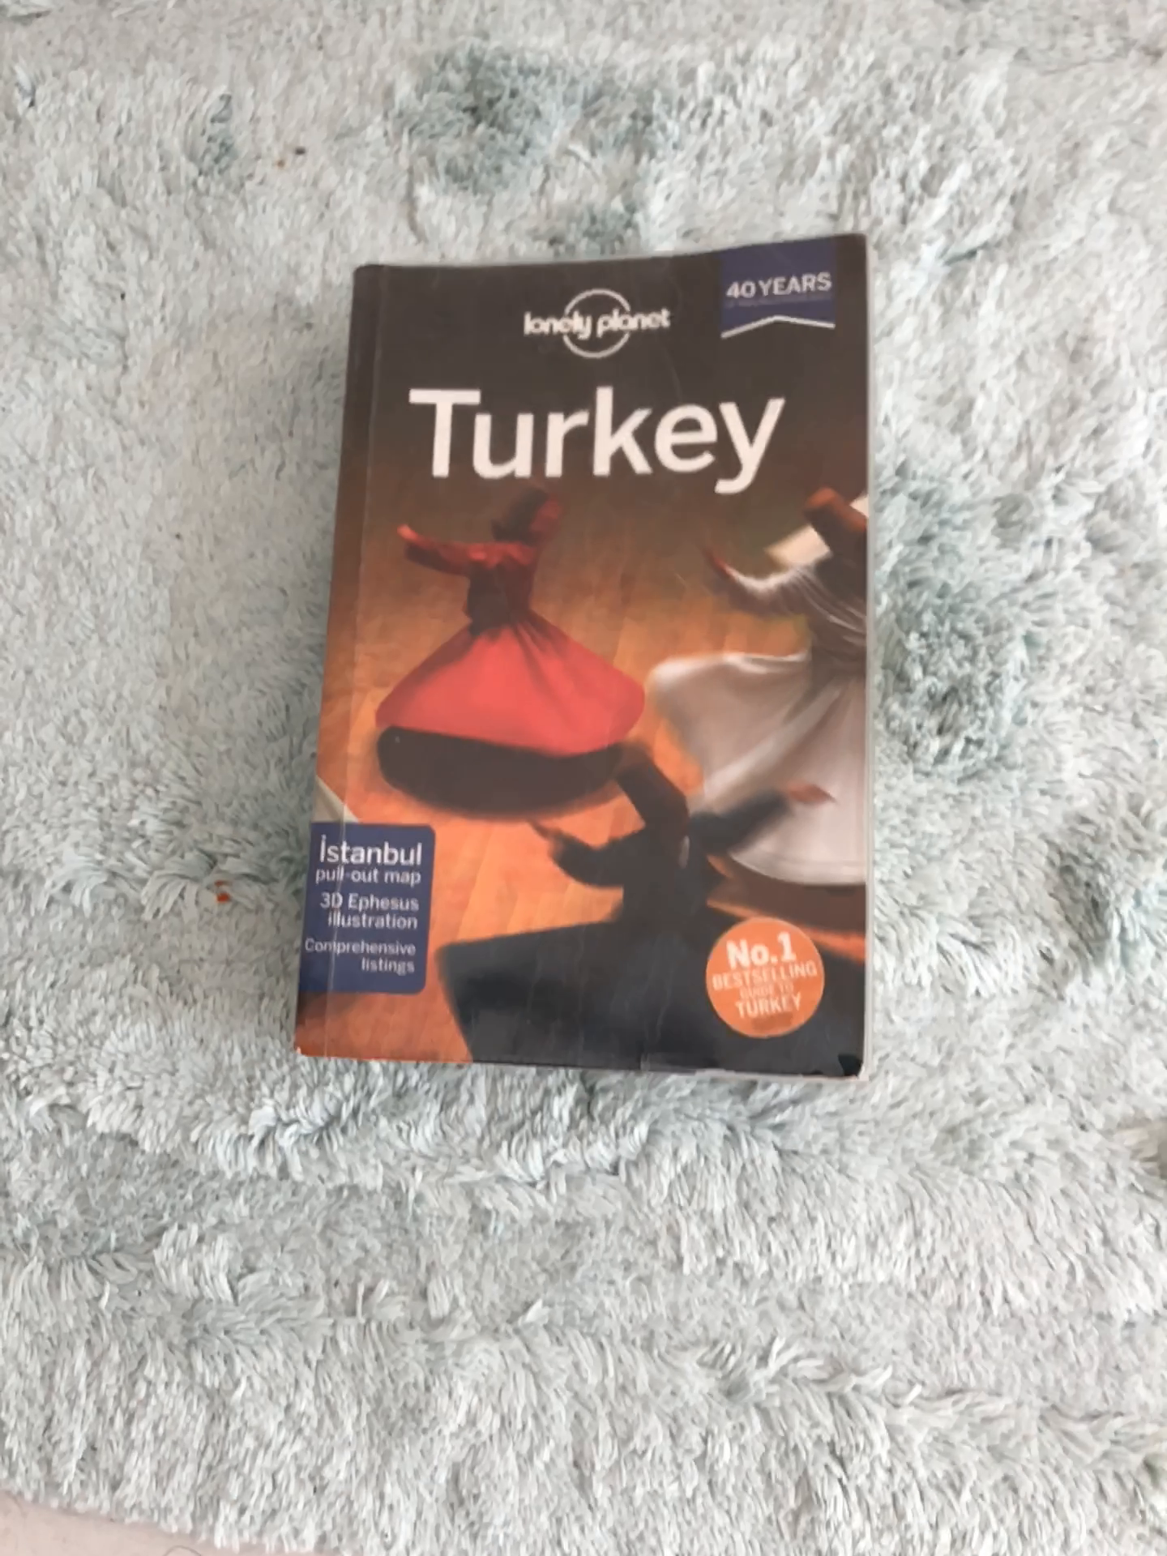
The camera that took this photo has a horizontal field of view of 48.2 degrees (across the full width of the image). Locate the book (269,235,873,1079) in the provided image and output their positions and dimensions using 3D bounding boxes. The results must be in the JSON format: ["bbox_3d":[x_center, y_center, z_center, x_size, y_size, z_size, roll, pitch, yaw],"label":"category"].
[{"bbox_3d":[0.002,-0.029,0.318,0.130,0.046,0.190,1,81,9],"label":"book"}]
